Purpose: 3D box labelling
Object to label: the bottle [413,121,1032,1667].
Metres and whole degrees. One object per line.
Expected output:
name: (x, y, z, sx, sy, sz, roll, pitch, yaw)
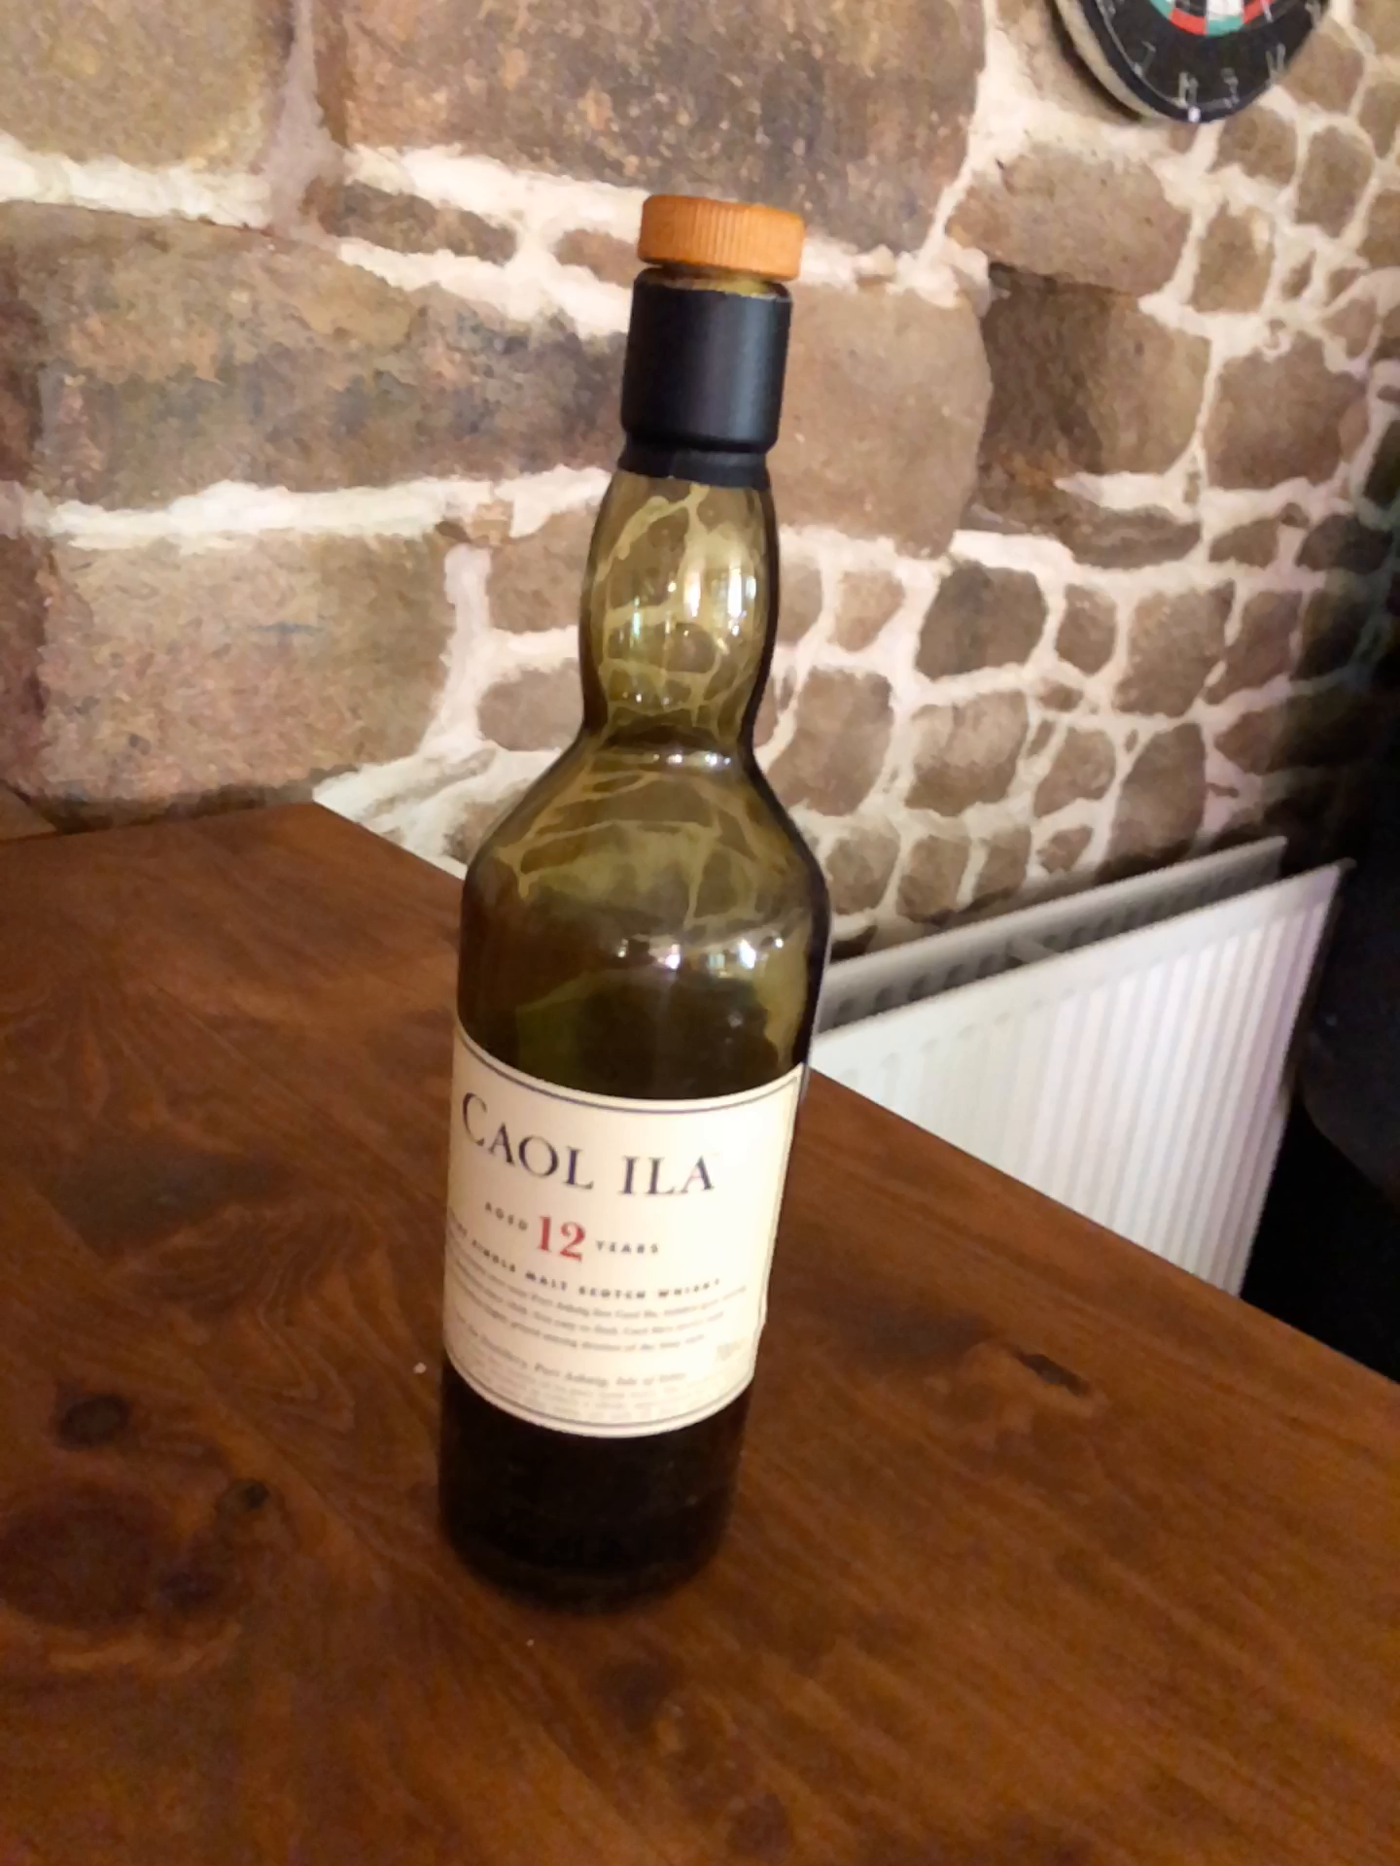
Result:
bottle: (-0.001, 0.005, 0.323, 0.080, 0.298, 0.070, 10, 21, 6)
